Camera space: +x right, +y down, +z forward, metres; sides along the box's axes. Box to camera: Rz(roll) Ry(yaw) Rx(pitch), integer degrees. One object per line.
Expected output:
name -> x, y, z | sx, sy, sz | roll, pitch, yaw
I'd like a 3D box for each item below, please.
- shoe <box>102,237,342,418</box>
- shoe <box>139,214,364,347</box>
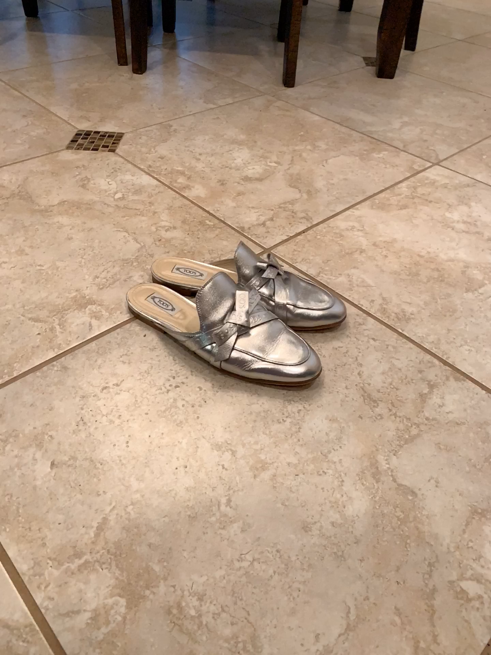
shoe -> -0.034, -0.011, 0.623 | 0.277, 0.077, 0.102 | 26, 47, 21
shoe -> 0.006, -0.068, 0.682 | 0.280, 0.077, 0.092 | 15, 44, 11
